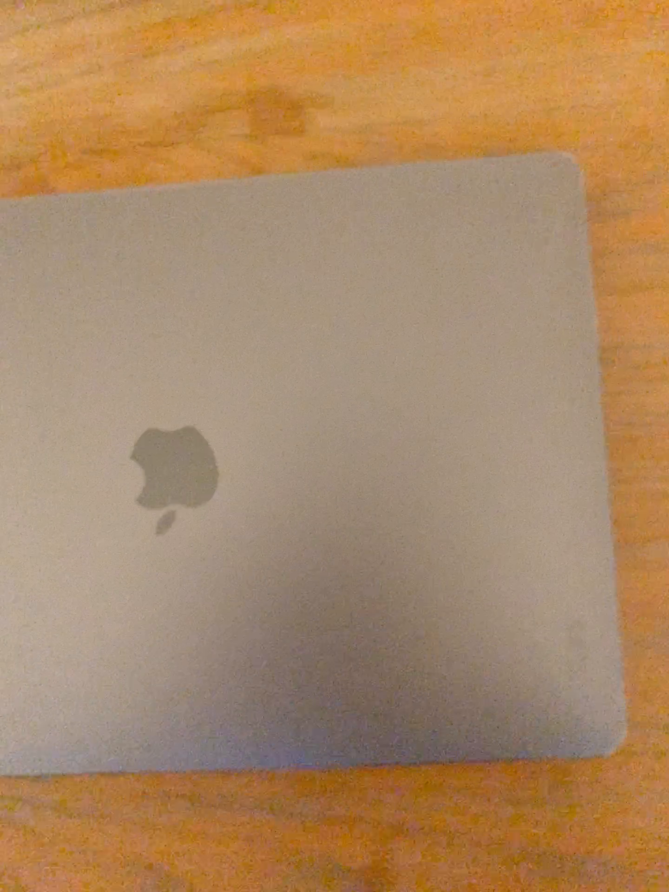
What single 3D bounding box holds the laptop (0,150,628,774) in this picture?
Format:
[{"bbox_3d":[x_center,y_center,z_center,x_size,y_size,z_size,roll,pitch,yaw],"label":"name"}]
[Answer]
[{"bbox_3d":[-0.055,0.009,0.257,0.292,0.005,0.210,-3,87,6],"label":"laptop"}]
